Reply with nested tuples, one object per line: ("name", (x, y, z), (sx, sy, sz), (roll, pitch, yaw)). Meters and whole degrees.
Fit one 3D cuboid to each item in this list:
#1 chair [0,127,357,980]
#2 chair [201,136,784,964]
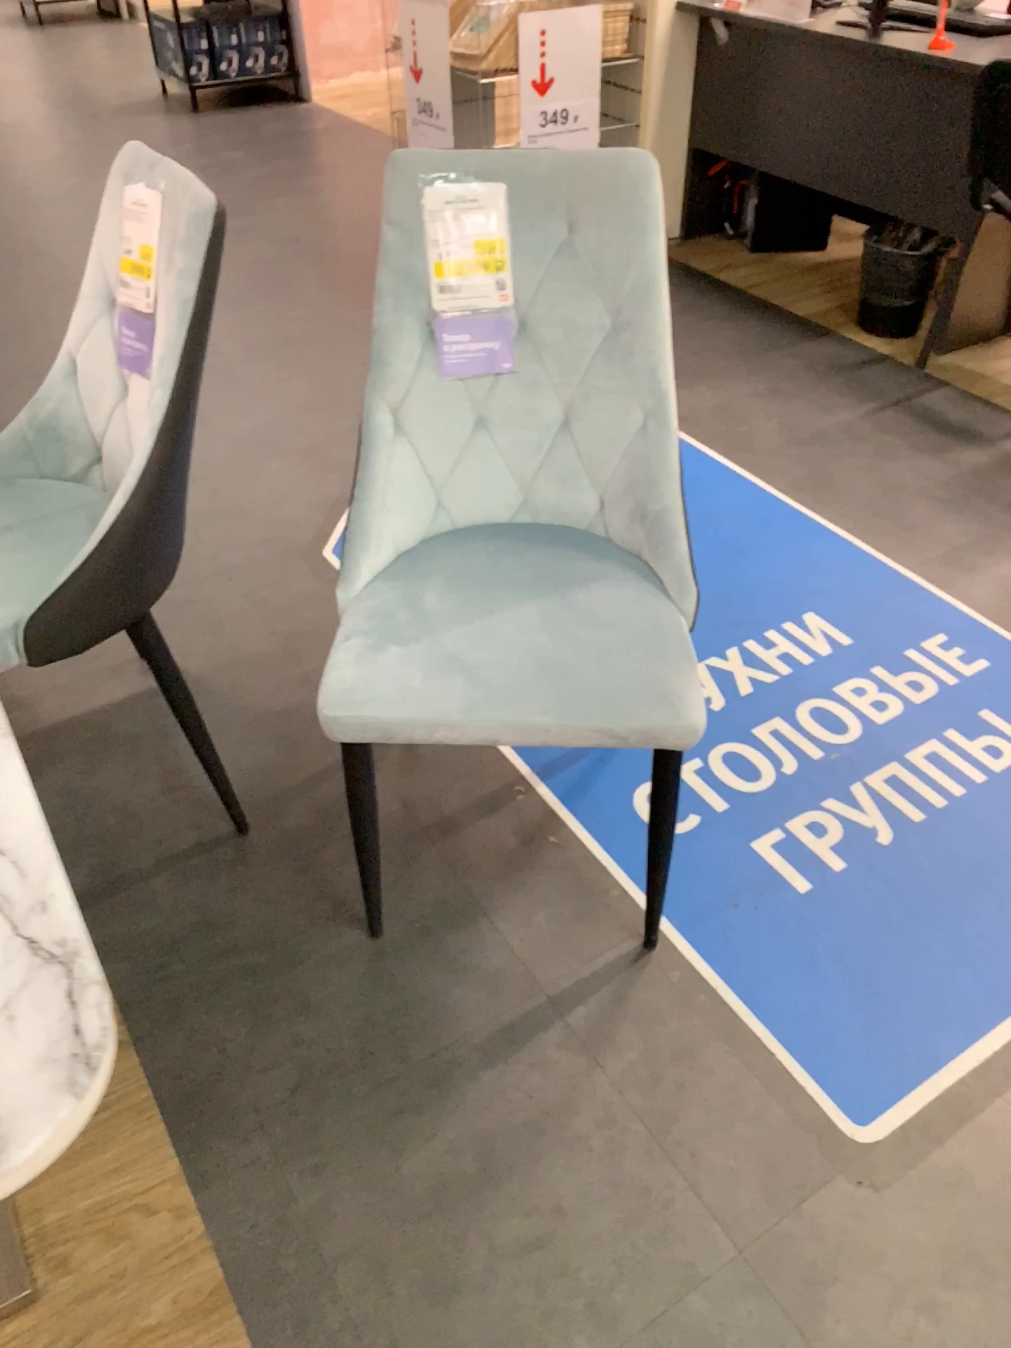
("chair", (-0.681, -0.189, 1.471), (0.666, 0.880, 0.571), (-22, 44, -24))
("chair", (0.006, -0.136, 1.330), (0.470, 0.885, 0.553), (1, 40, 3))
